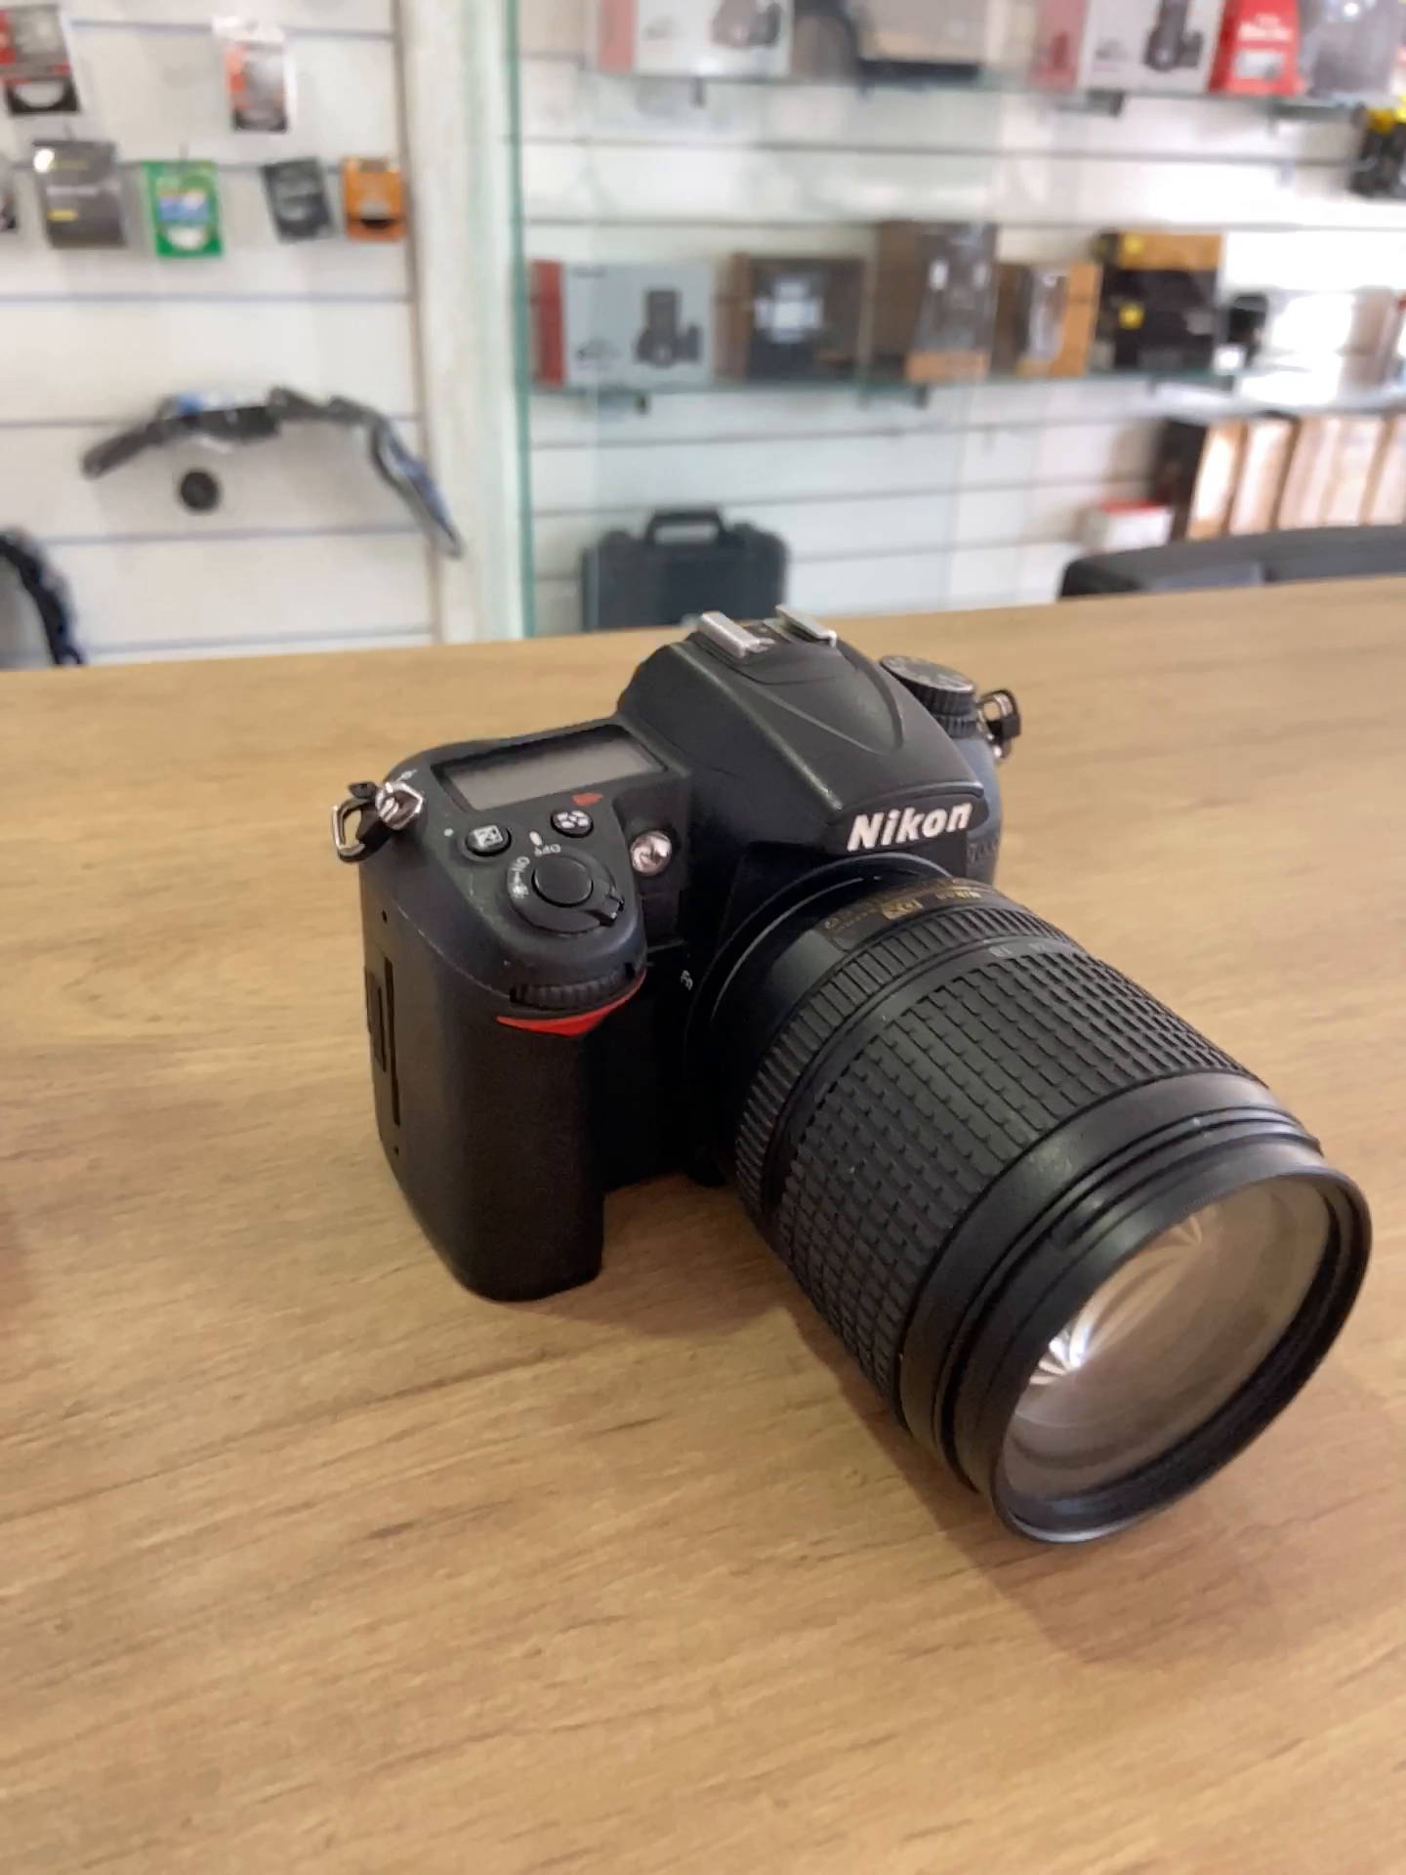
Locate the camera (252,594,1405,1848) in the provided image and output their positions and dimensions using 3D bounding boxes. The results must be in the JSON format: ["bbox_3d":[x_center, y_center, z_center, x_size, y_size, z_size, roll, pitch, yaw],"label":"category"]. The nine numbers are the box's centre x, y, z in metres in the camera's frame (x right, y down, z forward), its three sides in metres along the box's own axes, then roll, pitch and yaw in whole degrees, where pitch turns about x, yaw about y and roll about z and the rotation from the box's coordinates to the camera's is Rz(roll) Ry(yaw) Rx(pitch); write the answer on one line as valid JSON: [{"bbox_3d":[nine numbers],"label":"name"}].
[{"bbox_3d":[0.022,0.019,0.251,0.140,0.099,0.161,-15,33,-28],"label":"camera"}]
